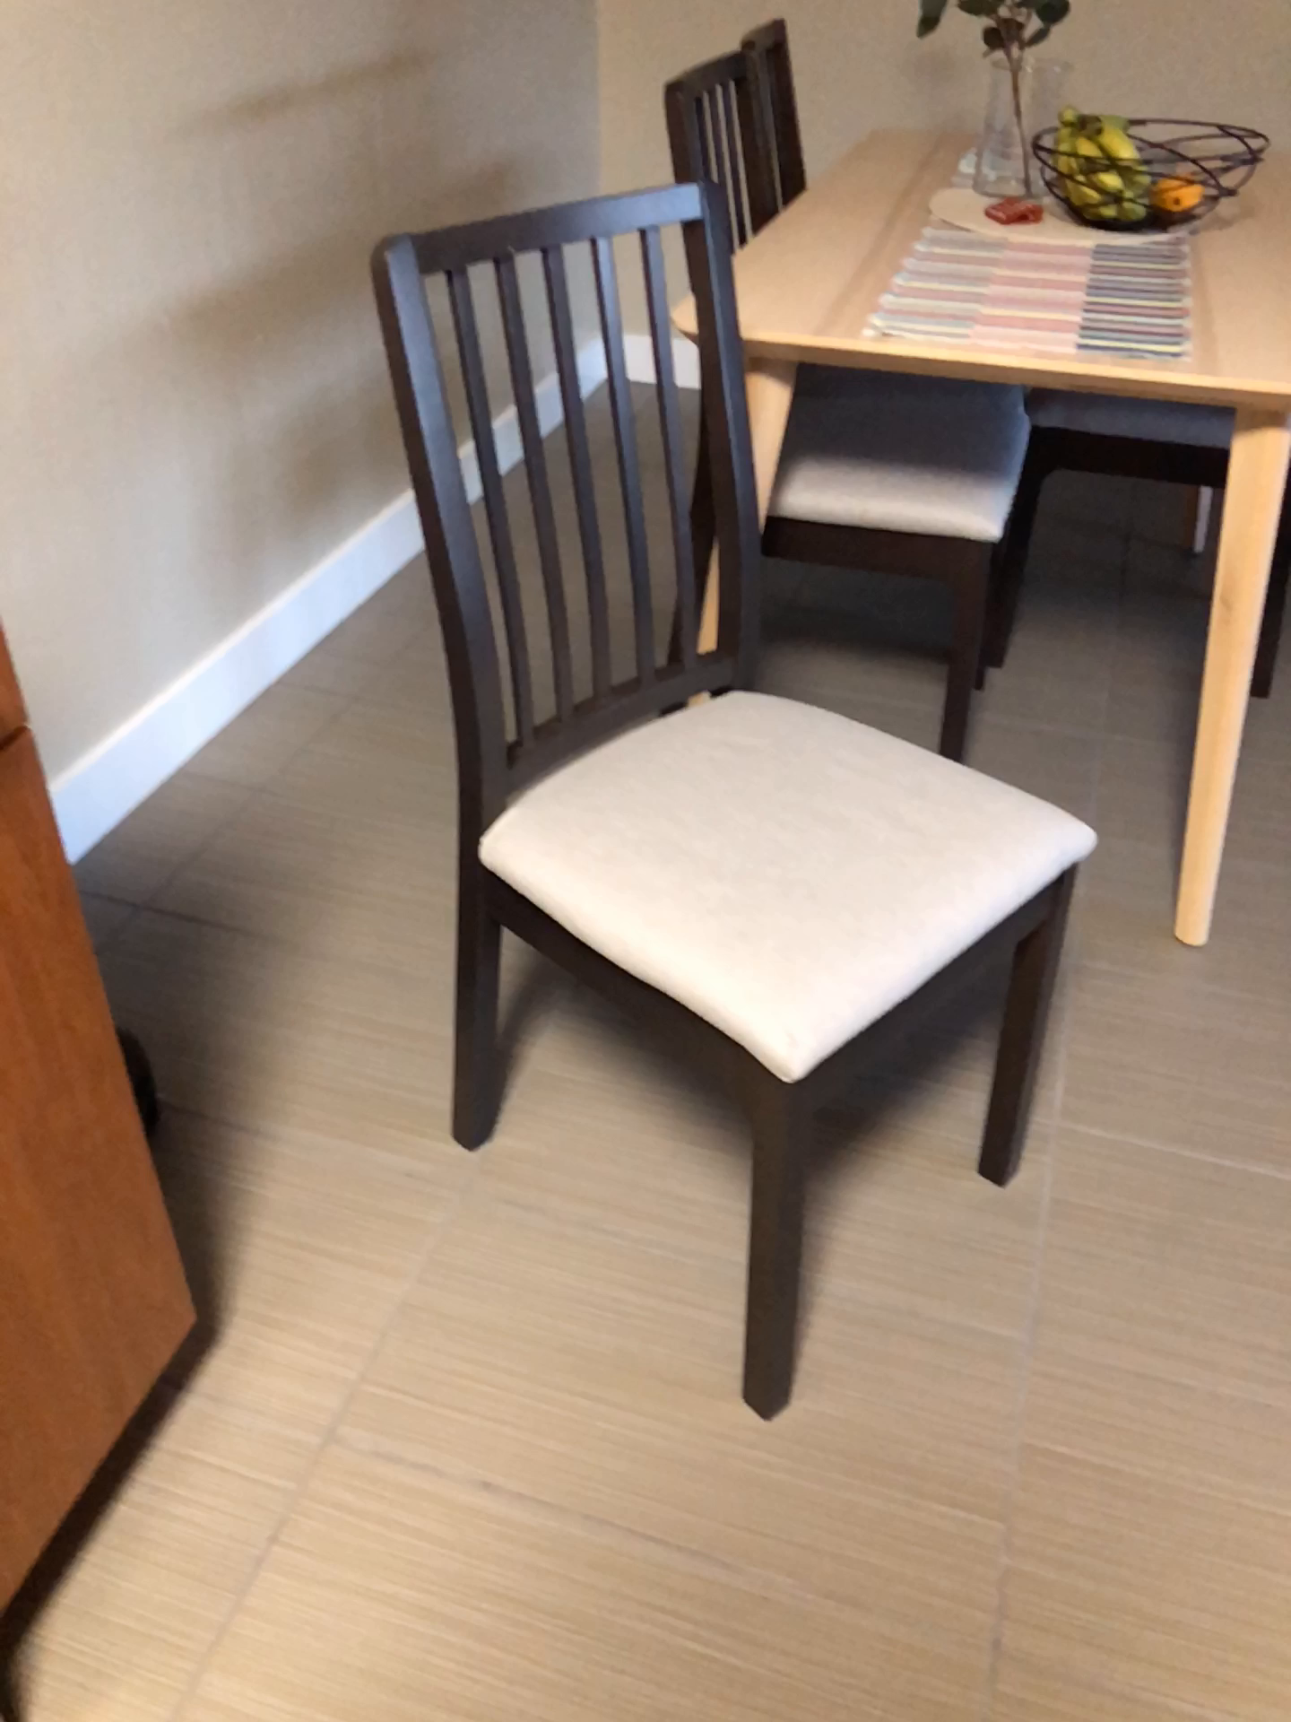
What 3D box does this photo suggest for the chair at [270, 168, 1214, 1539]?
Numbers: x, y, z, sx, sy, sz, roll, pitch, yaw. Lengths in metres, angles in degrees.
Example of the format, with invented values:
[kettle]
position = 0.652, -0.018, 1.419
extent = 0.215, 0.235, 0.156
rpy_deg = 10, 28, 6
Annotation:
[chair]
position = 0.060, 0.009, 1.376
extent = 0.481, 1.125, 0.511
rpy_deg = -27, 43, -34
